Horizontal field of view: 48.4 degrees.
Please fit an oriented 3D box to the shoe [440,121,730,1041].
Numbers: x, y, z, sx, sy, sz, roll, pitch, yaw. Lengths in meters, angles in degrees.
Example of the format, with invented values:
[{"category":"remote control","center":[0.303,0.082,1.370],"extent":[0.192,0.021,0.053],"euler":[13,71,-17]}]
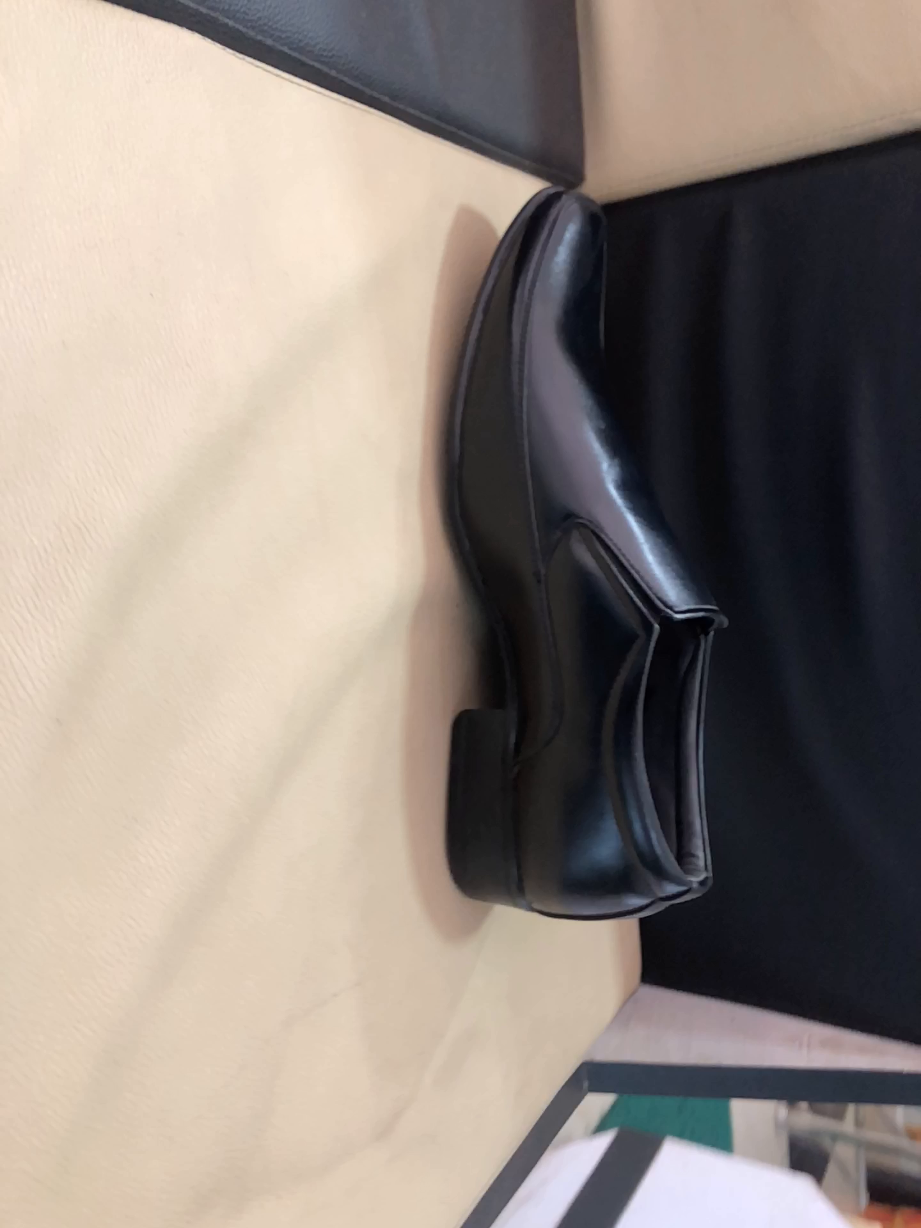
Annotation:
[{"category":"shoe","center":[0.054,-0.011,0.420],"extent":[0.101,0.079,0.320],"euler":[0,91,-59]}]
